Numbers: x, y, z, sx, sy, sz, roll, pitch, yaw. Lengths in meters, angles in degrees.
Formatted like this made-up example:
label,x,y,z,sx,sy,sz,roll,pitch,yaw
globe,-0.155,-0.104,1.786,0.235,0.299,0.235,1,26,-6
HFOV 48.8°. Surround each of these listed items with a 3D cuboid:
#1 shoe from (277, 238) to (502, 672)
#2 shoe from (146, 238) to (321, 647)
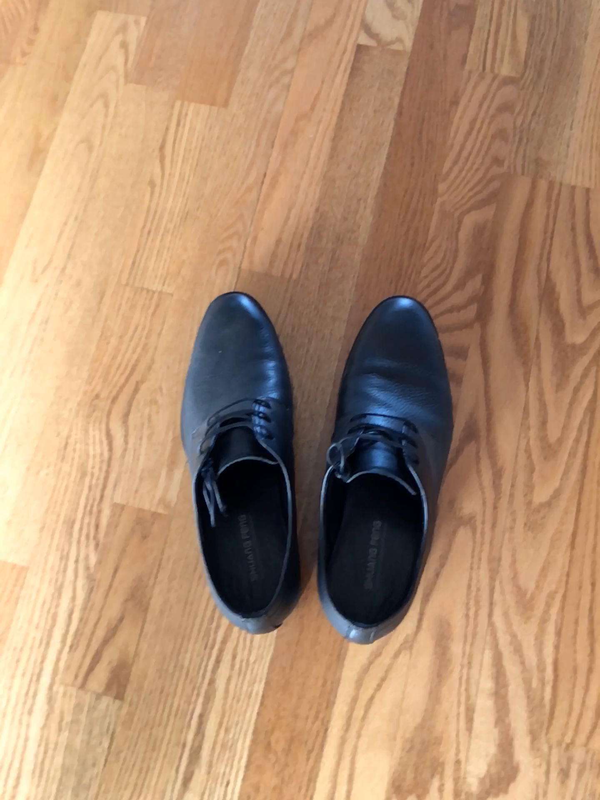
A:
label,x,y,z,sx,sy,sz,roll,pitch,yaw
shoe,0.073,0.042,0.536,0.110,0.124,0.299,11,77,7
shoe,-0.054,0.036,0.559,0.110,0.124,0.304,-6,75,2
